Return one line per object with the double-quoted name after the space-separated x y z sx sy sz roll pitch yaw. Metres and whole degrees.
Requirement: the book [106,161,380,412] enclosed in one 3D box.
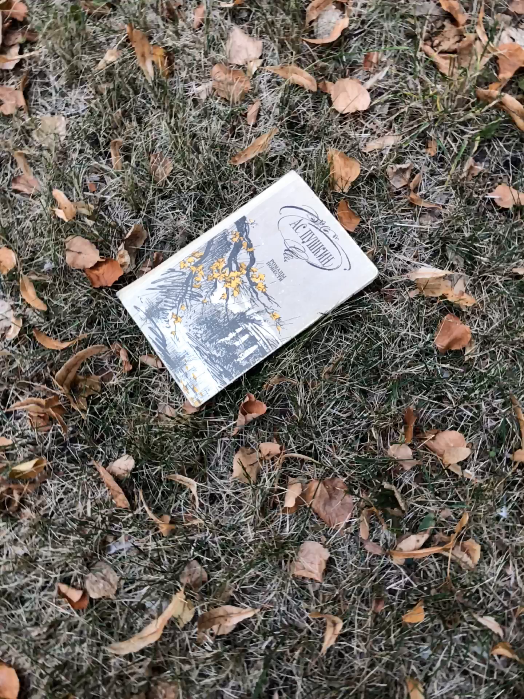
-0.018 -0.060 0.533 0.210 0.021 0.135 -36 79 -3 "book"
